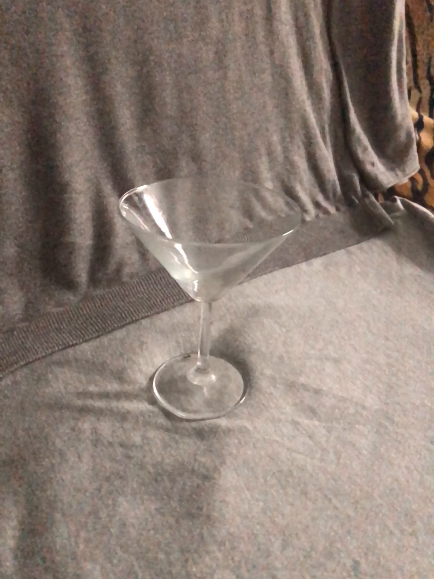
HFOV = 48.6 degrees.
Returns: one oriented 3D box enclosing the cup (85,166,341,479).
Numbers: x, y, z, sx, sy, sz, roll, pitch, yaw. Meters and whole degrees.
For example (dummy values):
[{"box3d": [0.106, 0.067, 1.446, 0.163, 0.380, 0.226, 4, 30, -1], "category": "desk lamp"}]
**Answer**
[{"box3d": [-0.014, 0.013, 0.329, 0.114, 0.157, 0.112, 6, 30, -4], "category": "cup"}]
